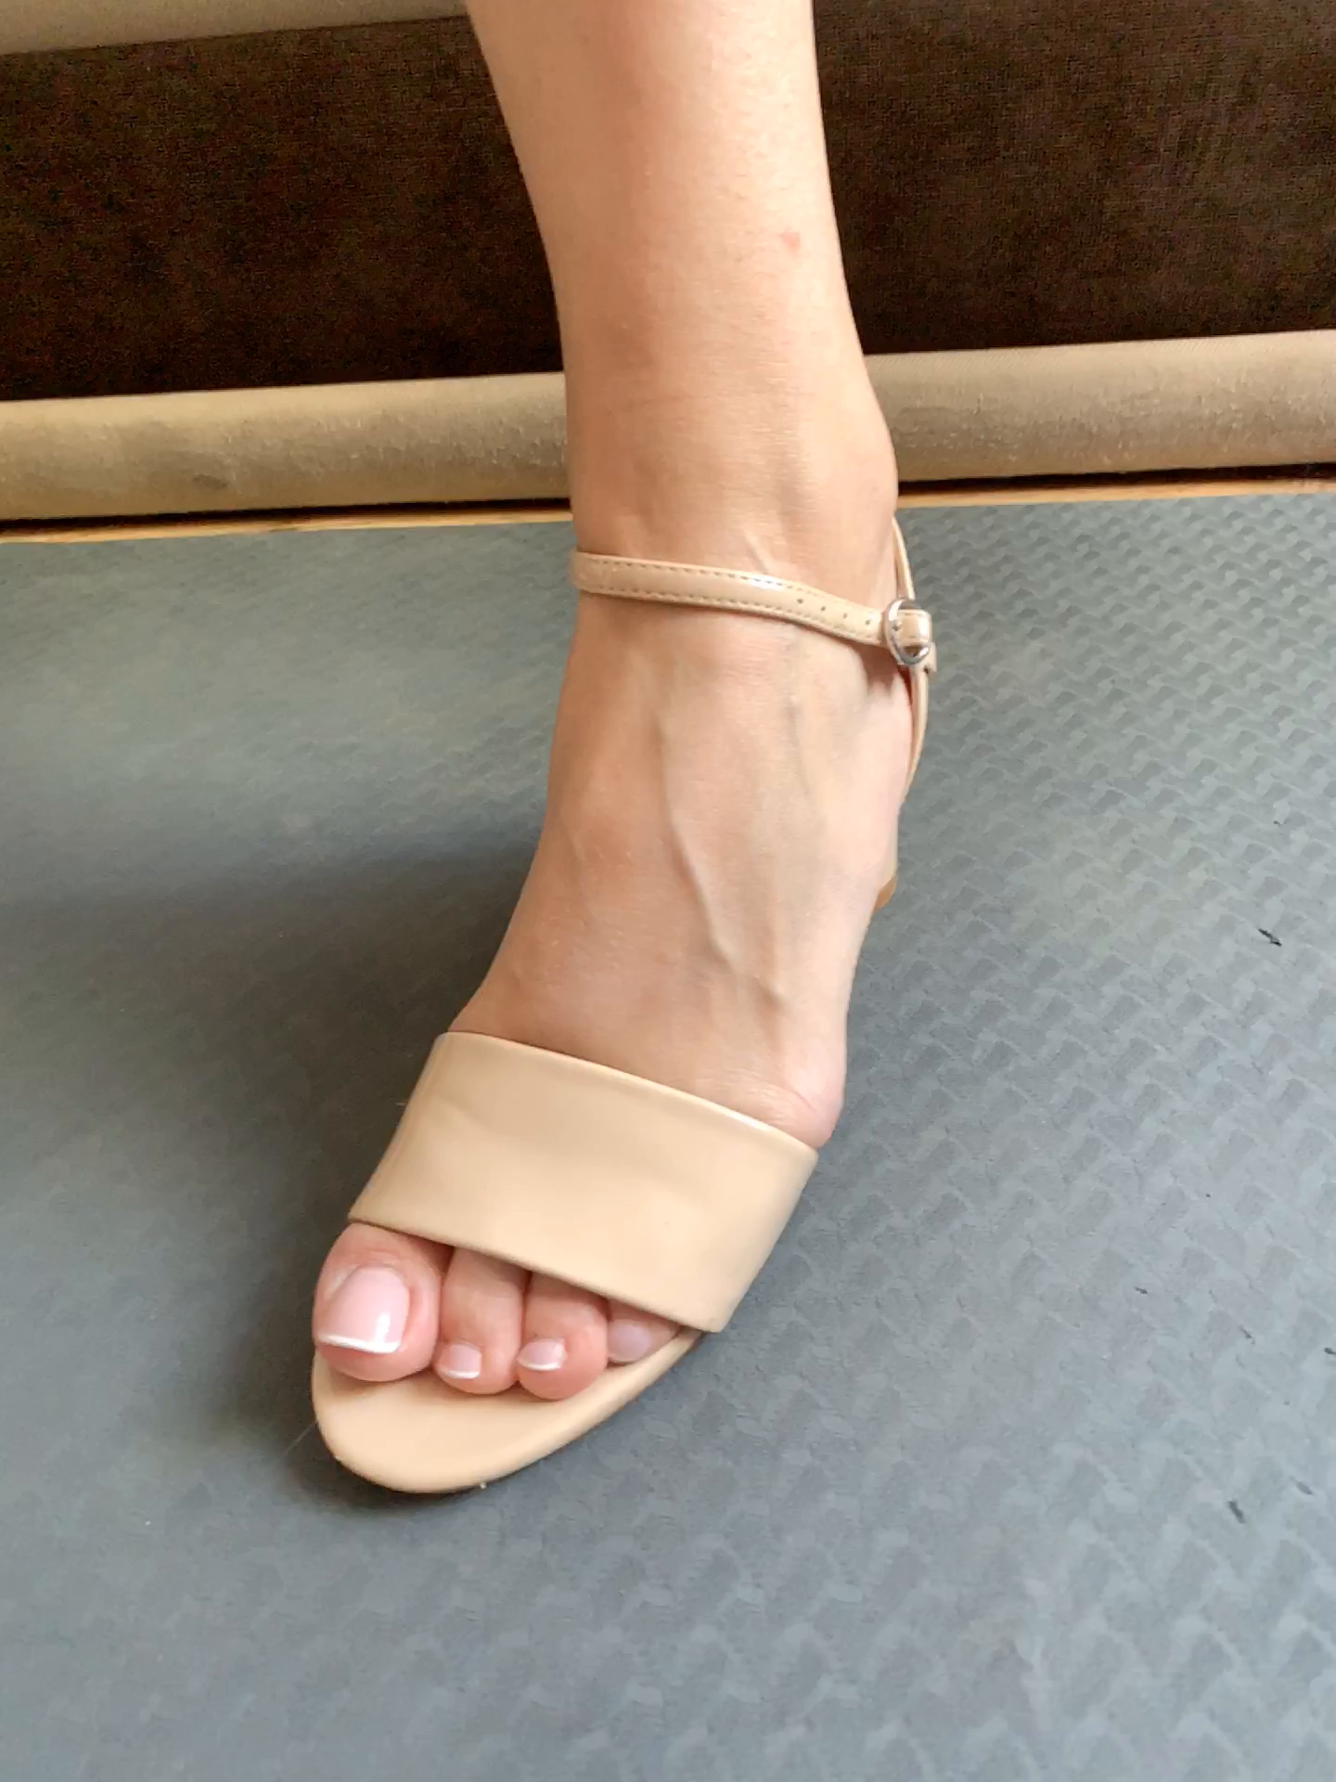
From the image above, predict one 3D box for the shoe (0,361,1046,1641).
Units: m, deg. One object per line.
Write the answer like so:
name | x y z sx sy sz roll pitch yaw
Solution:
shoe | -0.002 -0.009 0.288 0.090 0.119 0.251 13 41 23
